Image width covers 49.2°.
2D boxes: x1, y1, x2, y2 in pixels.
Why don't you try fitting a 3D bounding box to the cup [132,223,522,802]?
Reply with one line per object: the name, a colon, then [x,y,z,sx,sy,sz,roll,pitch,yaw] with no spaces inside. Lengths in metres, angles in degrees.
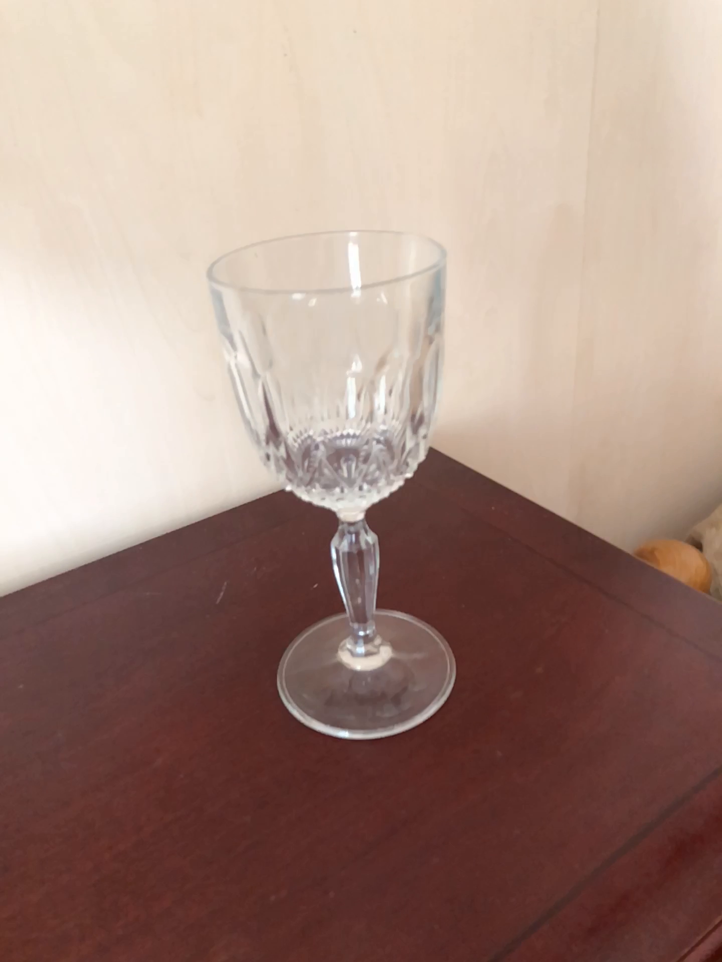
cup: [-0.008,0.007,0.302,0.096,0.178,0.092,-4,29,2]
